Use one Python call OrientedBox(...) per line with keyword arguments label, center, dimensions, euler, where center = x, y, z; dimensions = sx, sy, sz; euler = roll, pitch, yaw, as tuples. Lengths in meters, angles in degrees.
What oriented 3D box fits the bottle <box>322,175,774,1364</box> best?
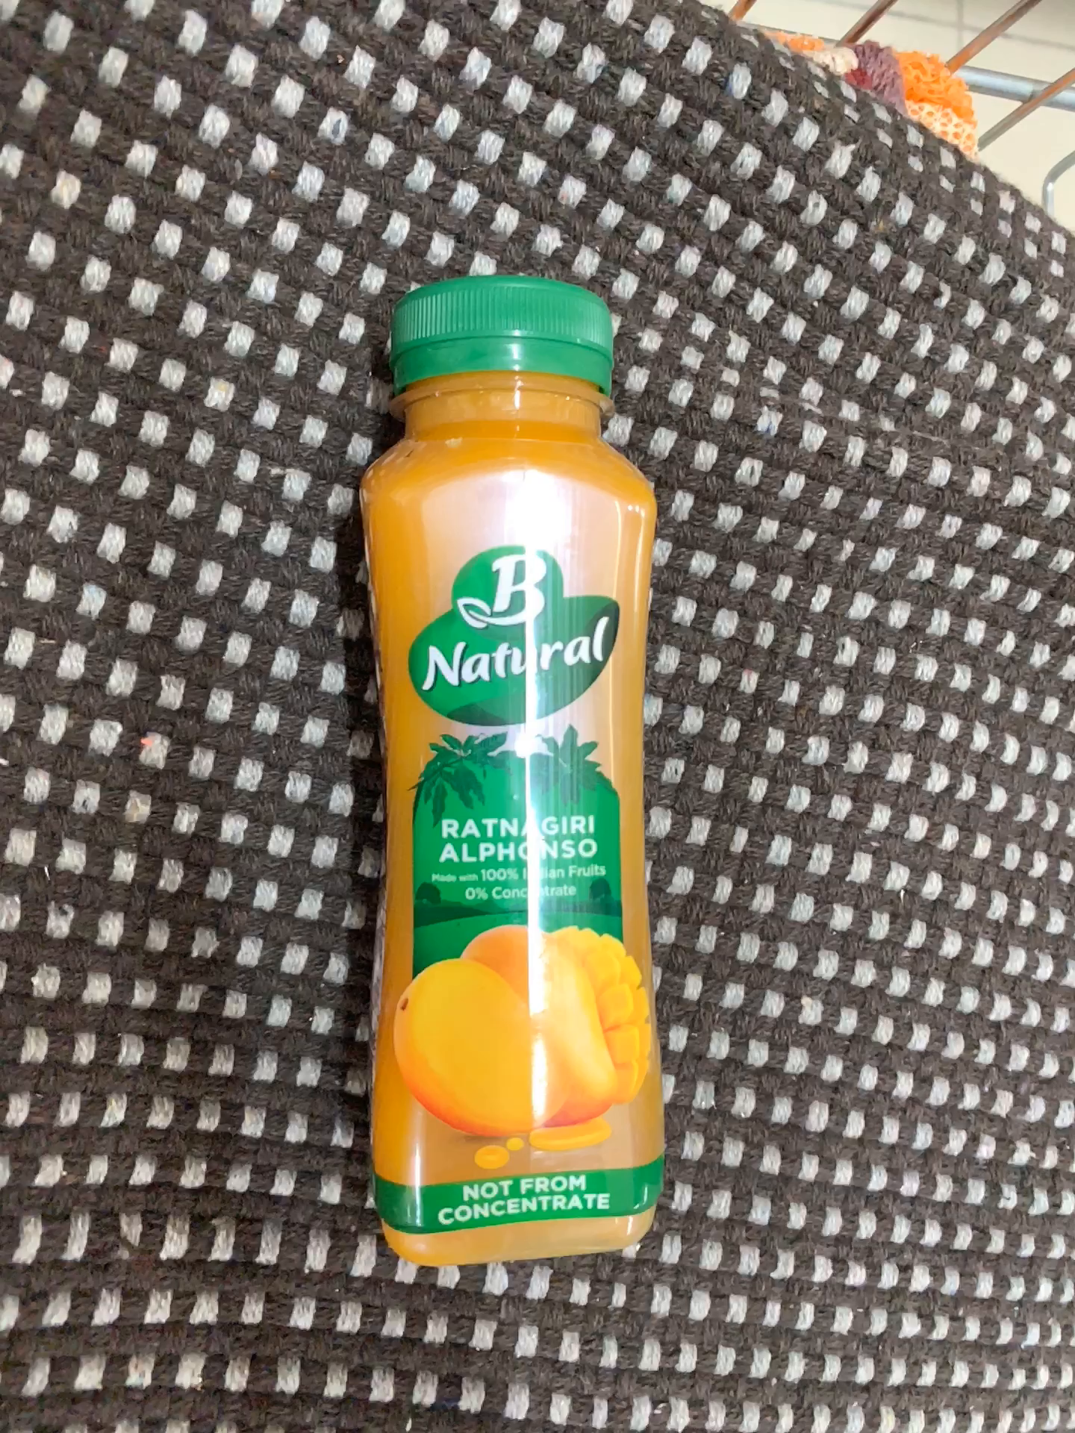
OrientedBox(label="bottle", center=(-0.003, 0.009, 0.180), dimensions=(0.060, 0.050, 0.160), euler=(0, 95, -12))
